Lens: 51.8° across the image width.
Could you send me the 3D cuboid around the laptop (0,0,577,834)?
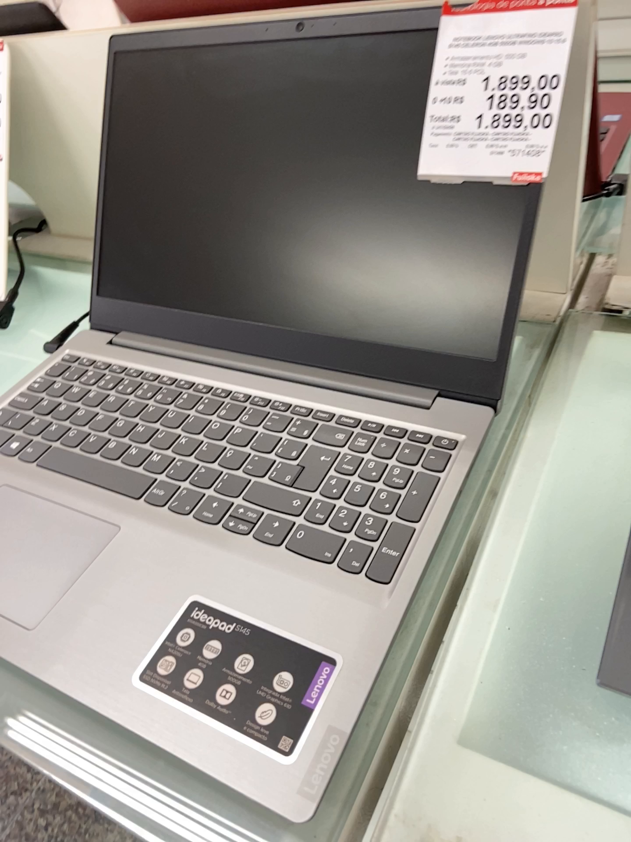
[{"bbox_3d":[-0.087,-0.081,0.392,0.367,0.189,0.403,12,48,28],"label":"laptop"}]
